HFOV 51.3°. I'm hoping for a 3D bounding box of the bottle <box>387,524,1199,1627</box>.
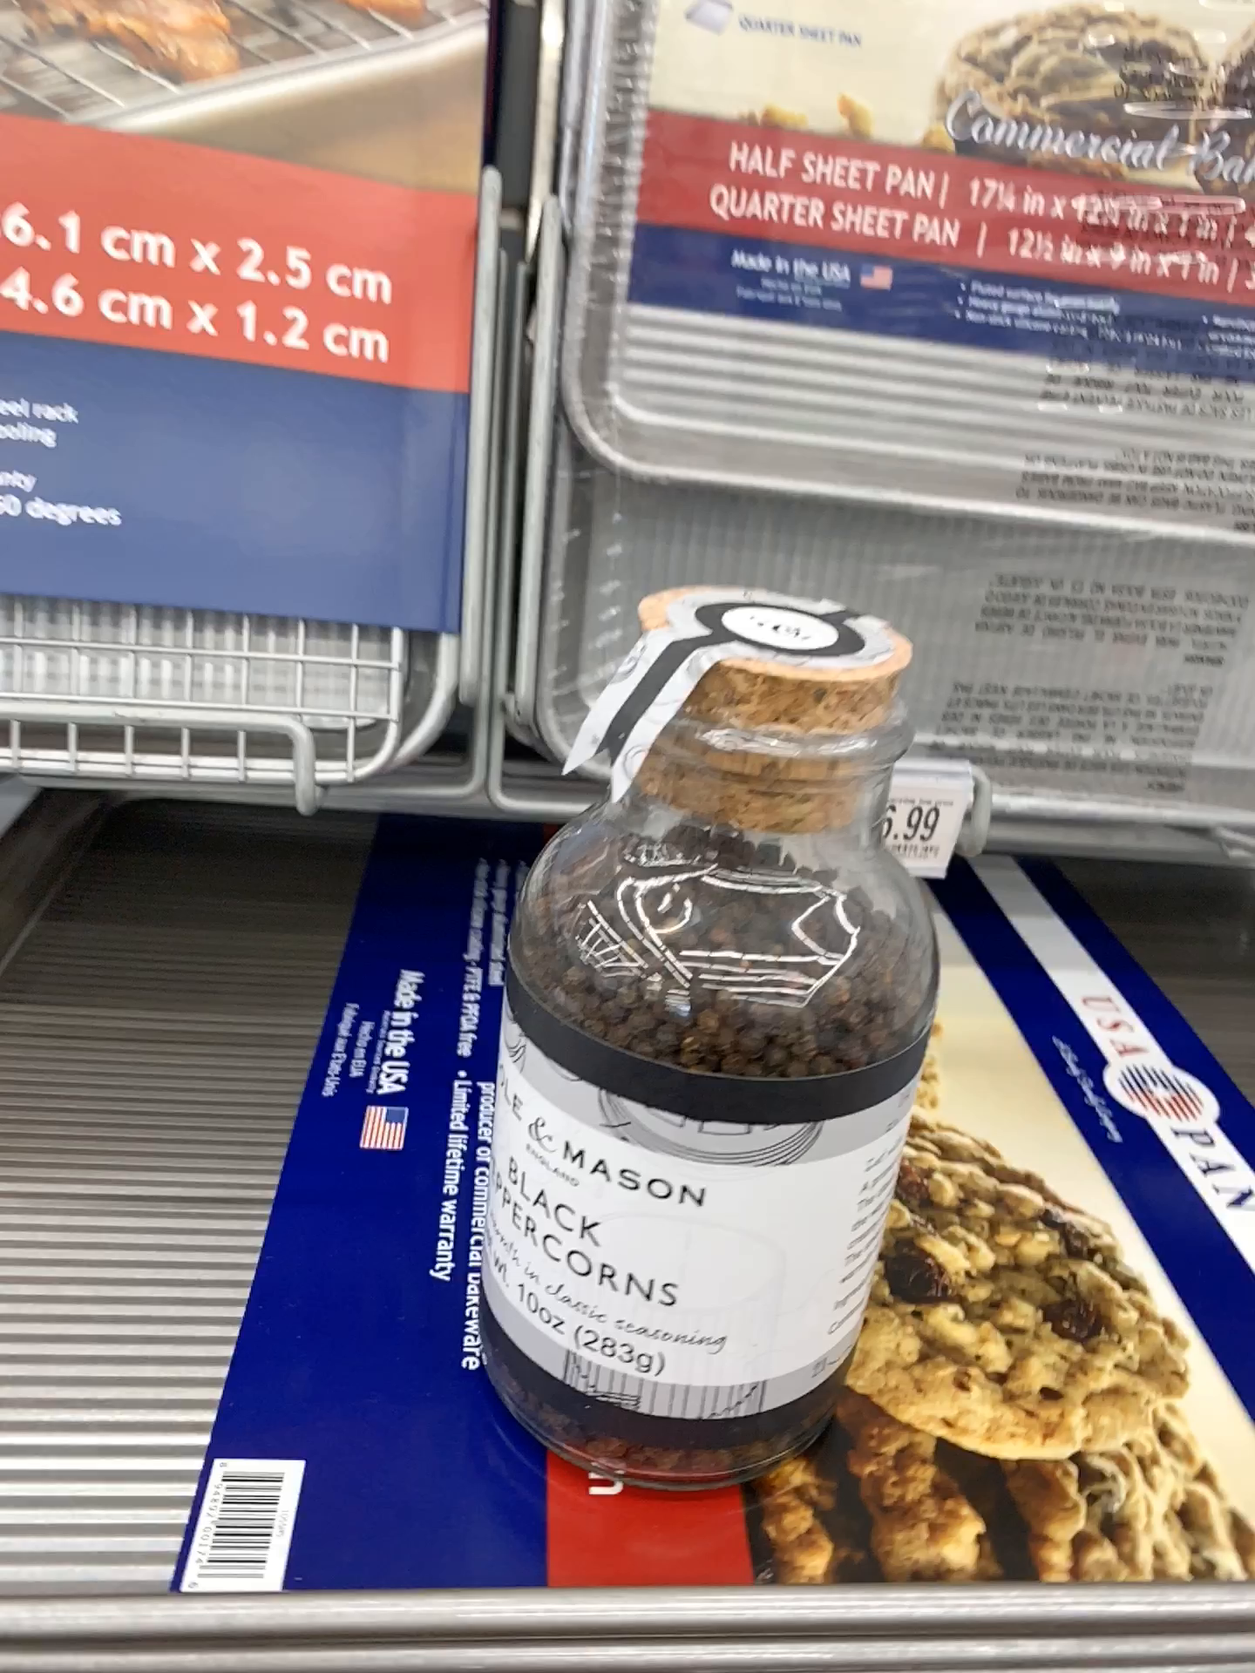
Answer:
[{"bbox_3d":[0.021,0.033,0.244,0.090,0.159,0.090,6,23,-2],"label":"bottle"}]
